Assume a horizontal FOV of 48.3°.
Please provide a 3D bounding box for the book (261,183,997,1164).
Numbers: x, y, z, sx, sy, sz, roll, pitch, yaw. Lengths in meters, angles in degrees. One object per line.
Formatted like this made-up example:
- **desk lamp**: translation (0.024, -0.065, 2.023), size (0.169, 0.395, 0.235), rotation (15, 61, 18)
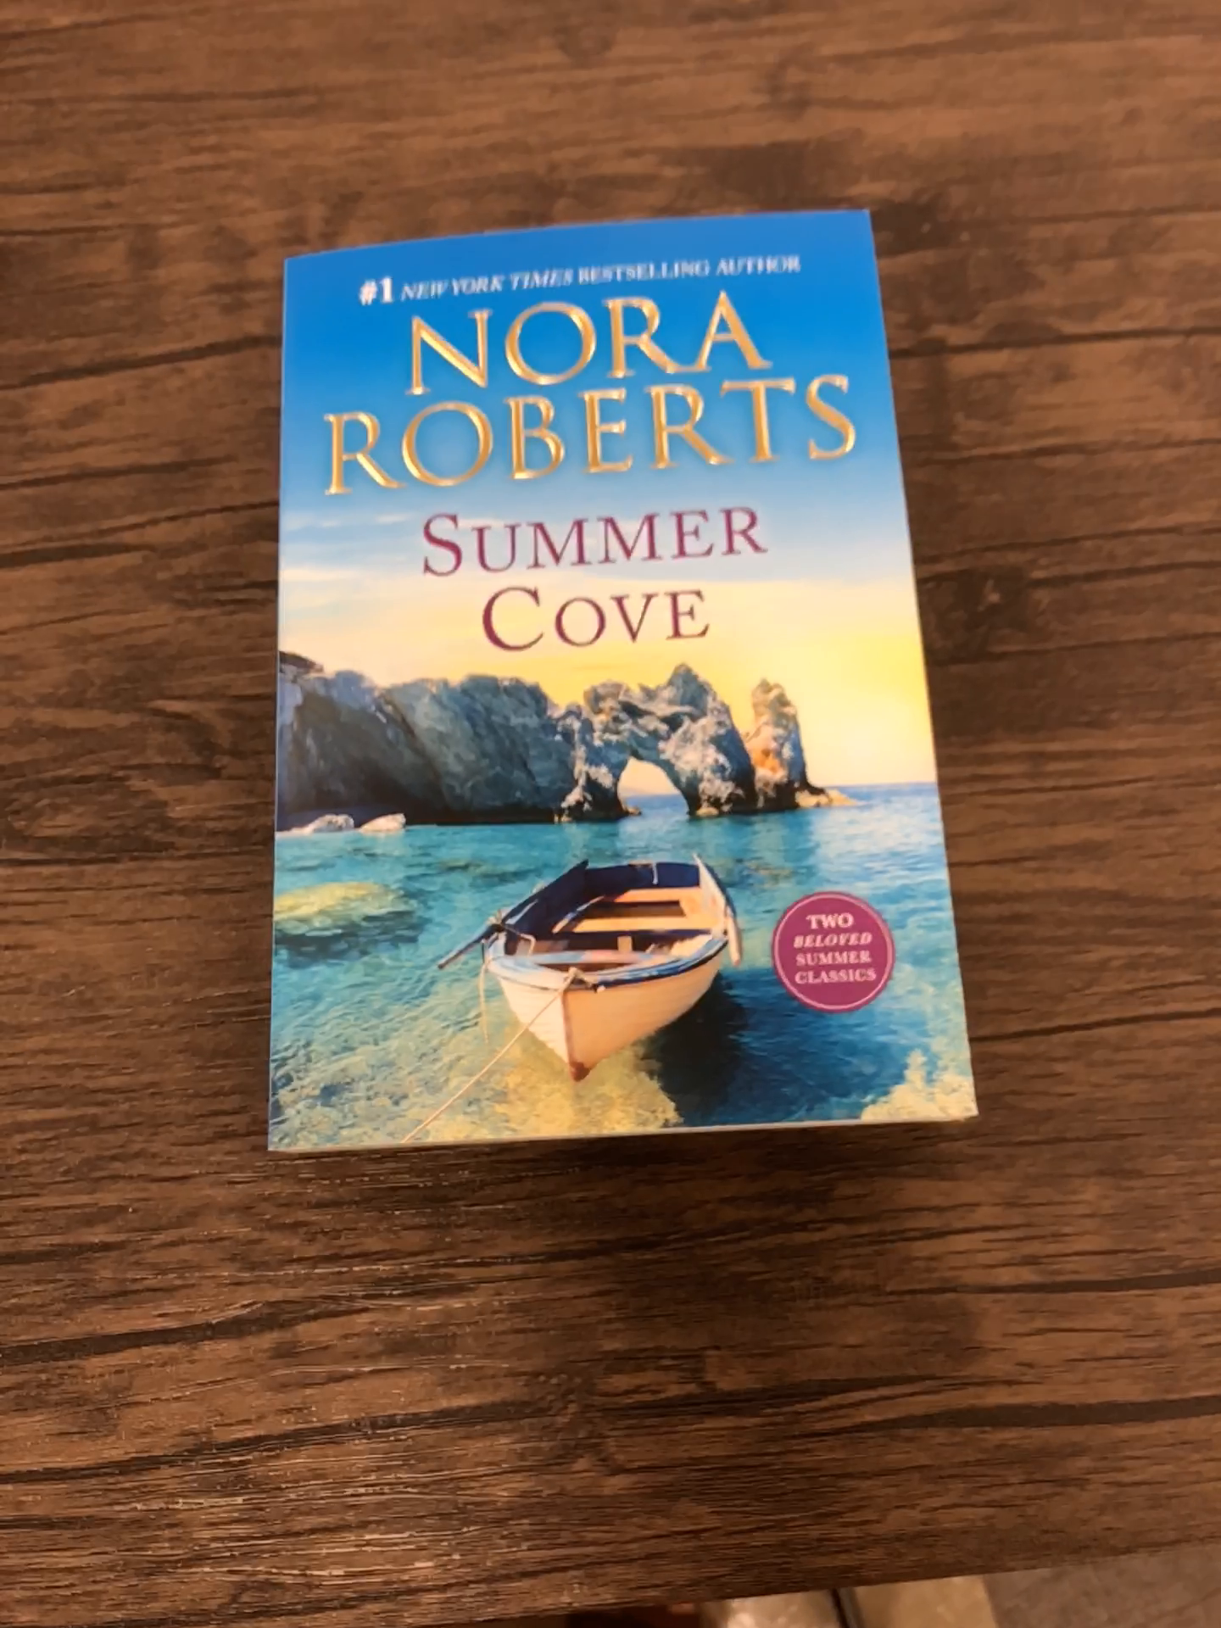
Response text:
- **book**: translation (-0.003, -0.034, 0.307), size (0.140, 0.043, 0.210), rotation (-4, 74, 0)
